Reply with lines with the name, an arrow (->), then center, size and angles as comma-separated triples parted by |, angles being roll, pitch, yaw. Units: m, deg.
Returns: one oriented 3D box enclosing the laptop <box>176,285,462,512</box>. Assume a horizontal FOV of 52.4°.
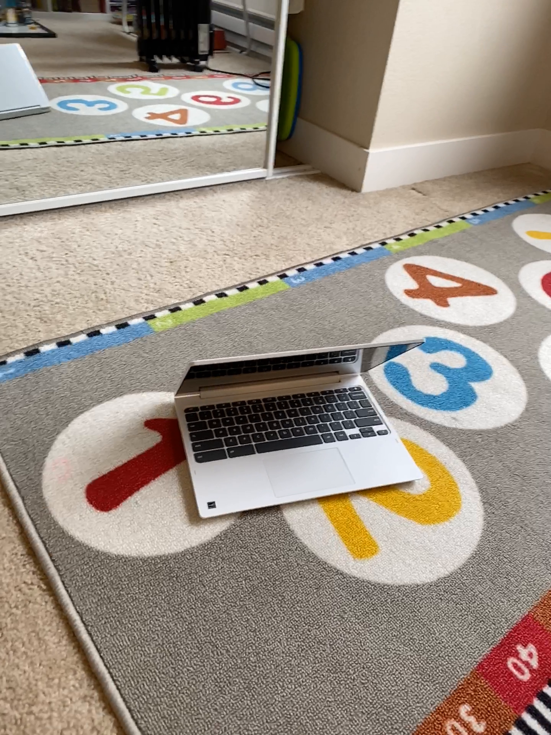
laptop -> 0.034, 0.024, 0.727 | 0.294, 0.164, 0.218 | -6, 39, -17
